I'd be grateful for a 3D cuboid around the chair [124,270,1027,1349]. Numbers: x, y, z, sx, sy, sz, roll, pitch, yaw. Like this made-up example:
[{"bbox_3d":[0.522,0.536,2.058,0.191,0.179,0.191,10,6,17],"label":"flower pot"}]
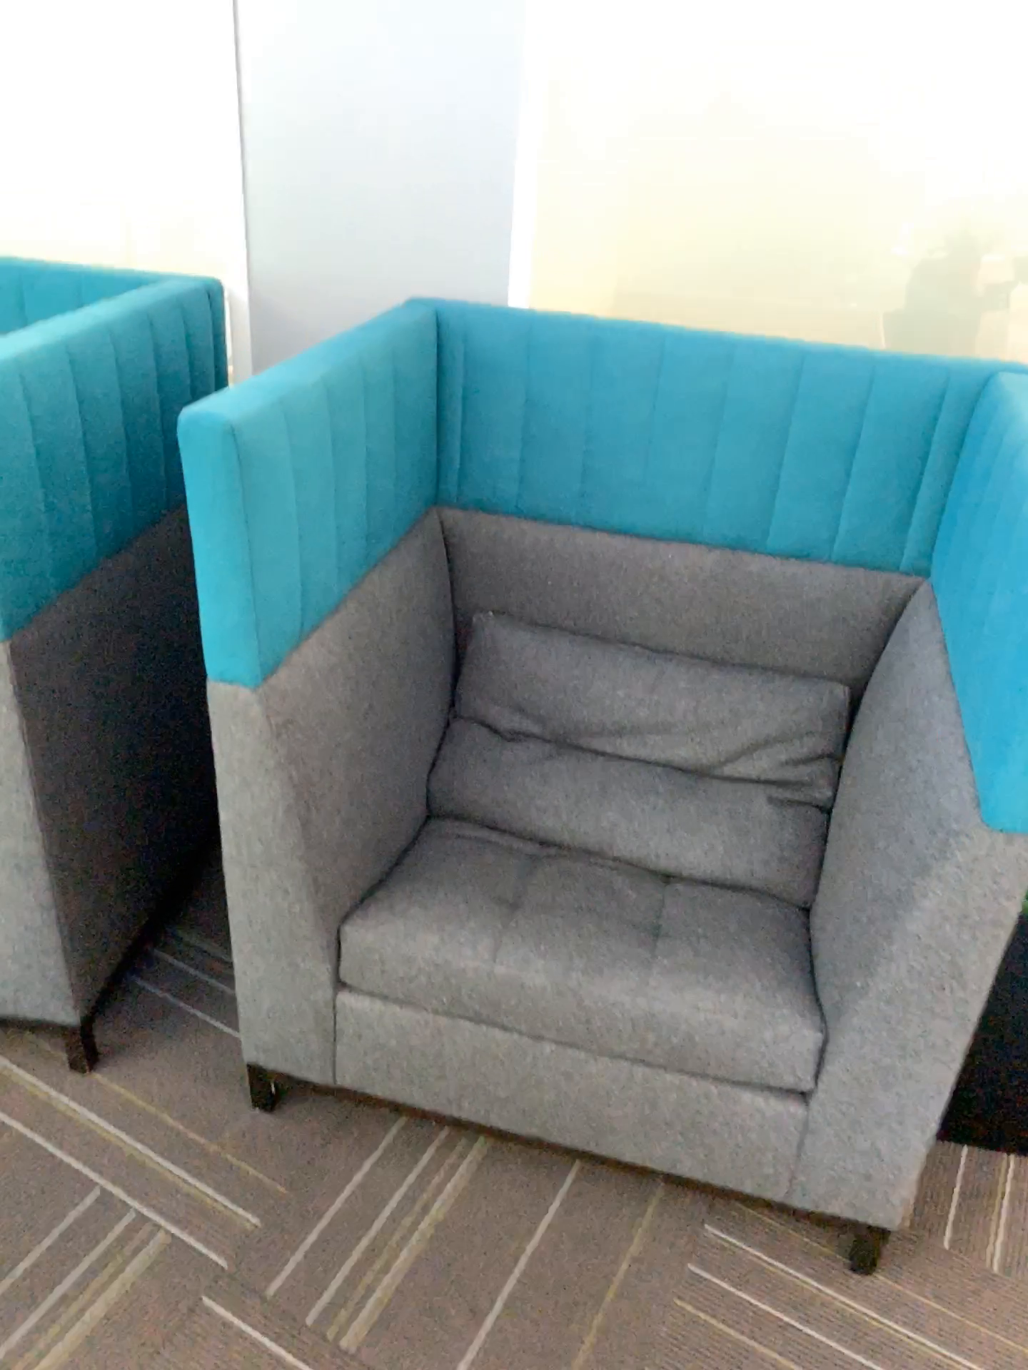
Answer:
[{"bbox_3d":[0.187,0.090,1.713,1.051,1.213,1.015,10,30,10],"label":"chair"}]
